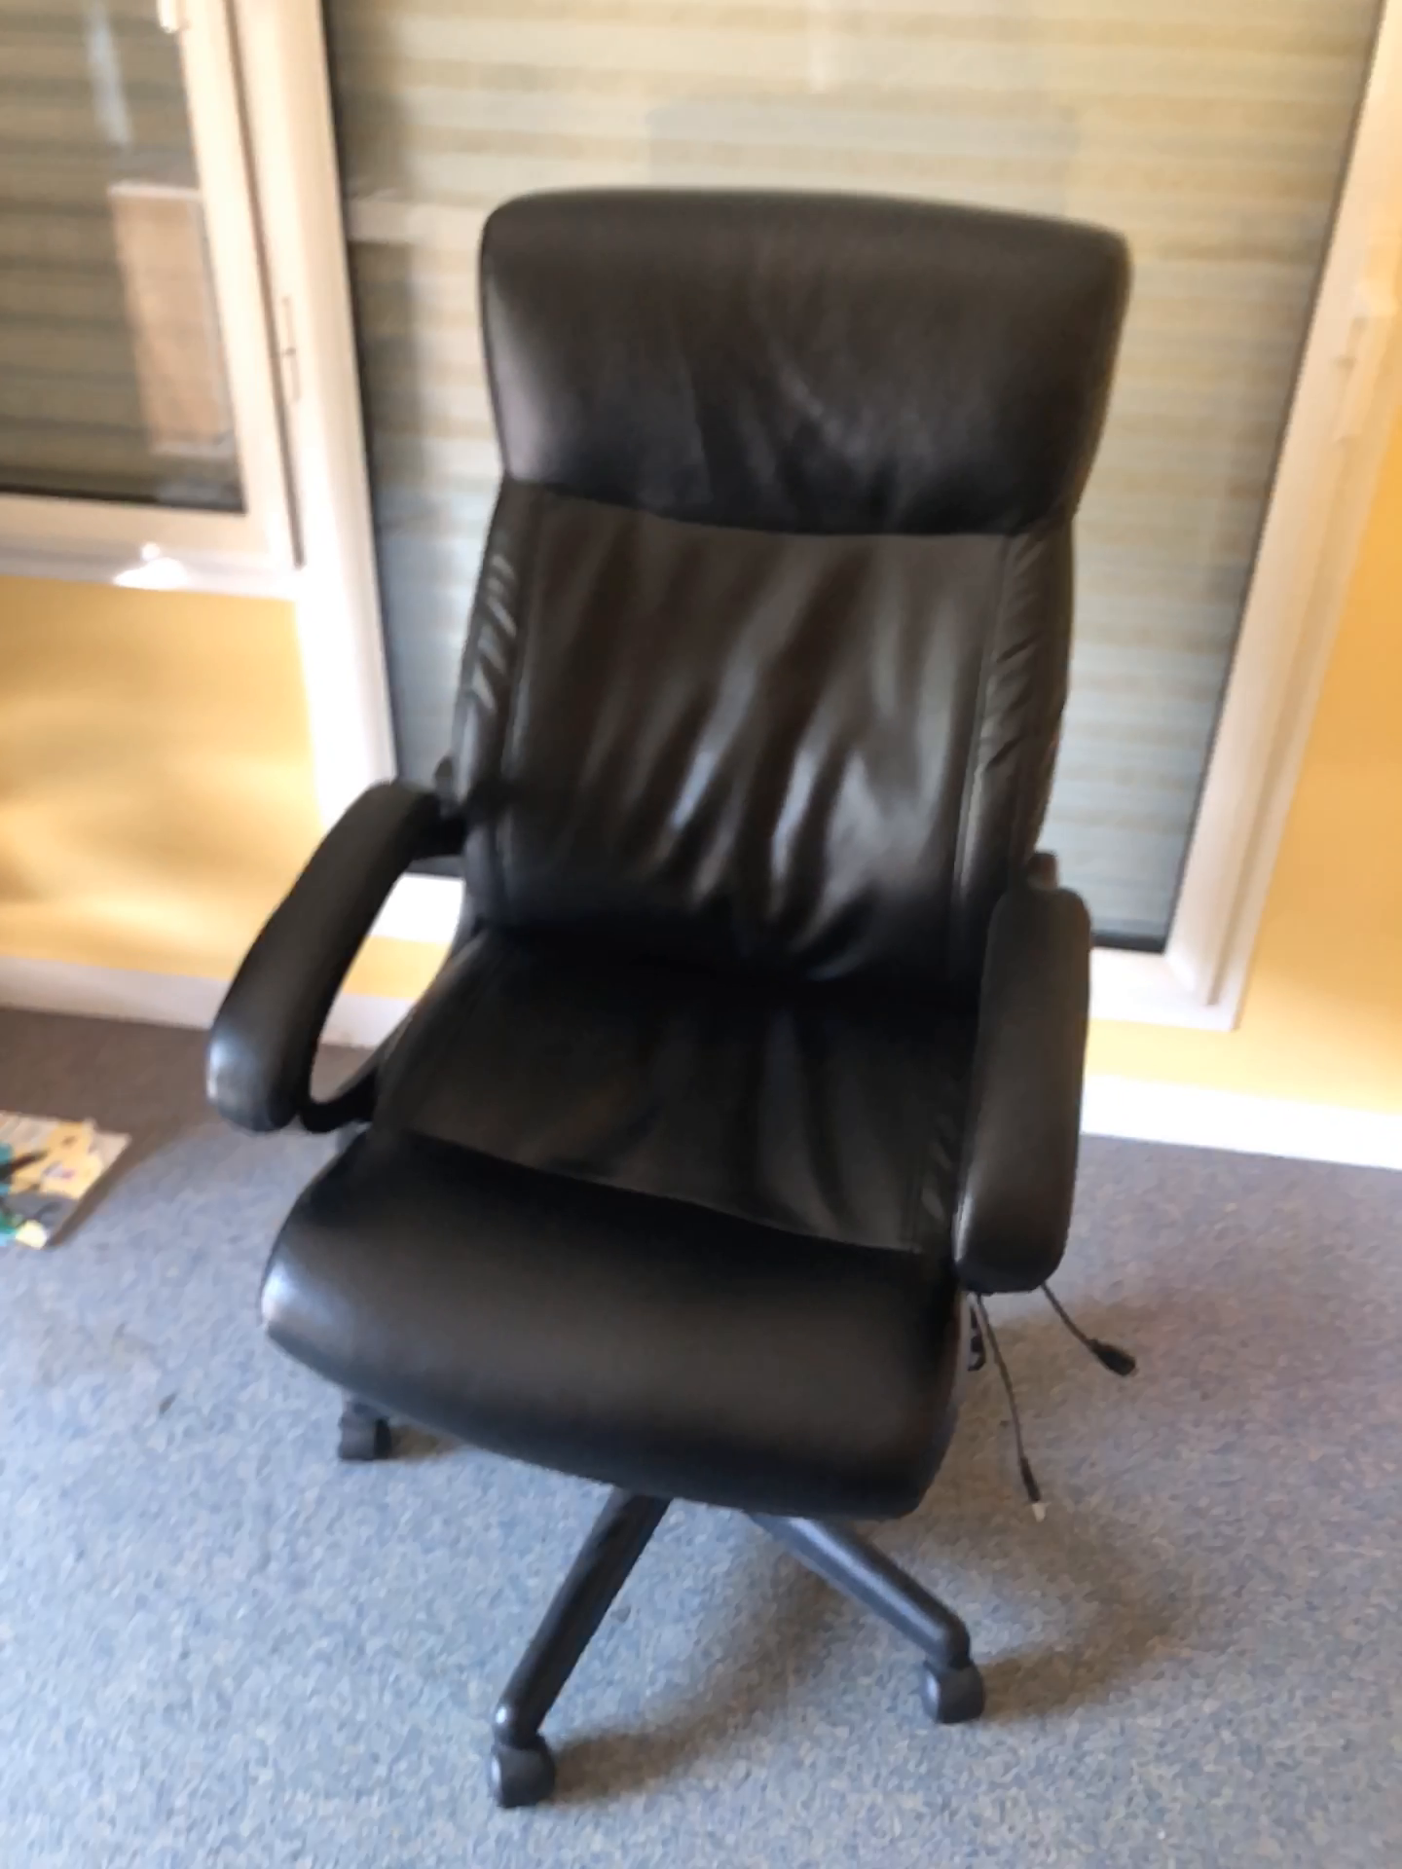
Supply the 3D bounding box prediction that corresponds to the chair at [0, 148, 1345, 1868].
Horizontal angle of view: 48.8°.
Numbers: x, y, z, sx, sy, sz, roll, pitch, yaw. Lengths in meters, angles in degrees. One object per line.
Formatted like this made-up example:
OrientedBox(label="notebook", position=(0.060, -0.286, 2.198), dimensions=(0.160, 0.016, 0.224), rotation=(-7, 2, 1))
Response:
OrientedBox(label="chair", position=(-0.020, 0.052, 1.246), dimensions=(0.660, 1.113, 0.755), rotation=(8, 34, 9))
